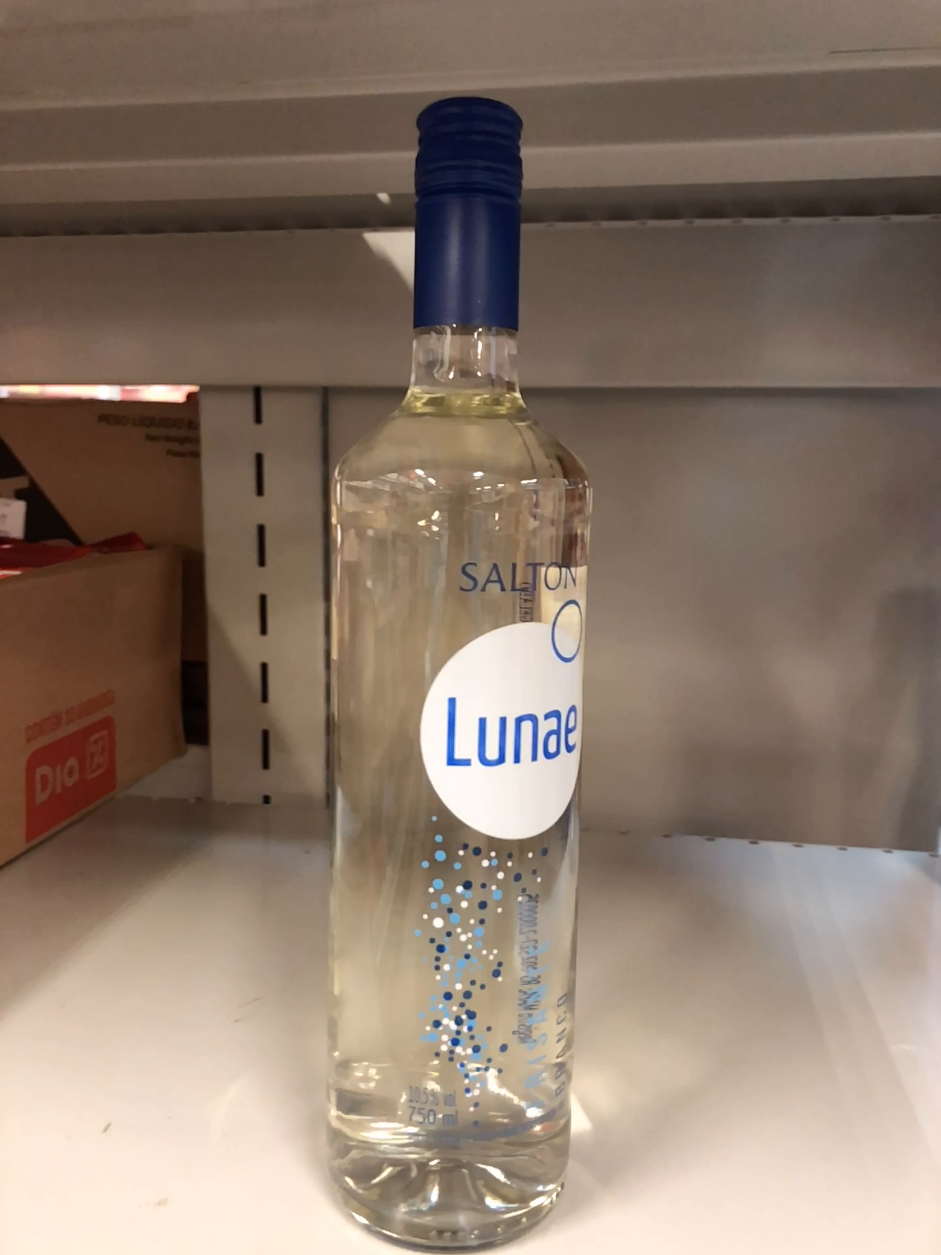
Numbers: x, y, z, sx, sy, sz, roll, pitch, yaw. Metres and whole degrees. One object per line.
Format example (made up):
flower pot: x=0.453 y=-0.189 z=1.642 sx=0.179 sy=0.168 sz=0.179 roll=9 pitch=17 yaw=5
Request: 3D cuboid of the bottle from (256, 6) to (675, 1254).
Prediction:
bottle: x=-0.006 y=0.014 z=0.295 sx=0.080 sy=0.309 sz=0.080 roll=0 pitch=10 yaw=0
